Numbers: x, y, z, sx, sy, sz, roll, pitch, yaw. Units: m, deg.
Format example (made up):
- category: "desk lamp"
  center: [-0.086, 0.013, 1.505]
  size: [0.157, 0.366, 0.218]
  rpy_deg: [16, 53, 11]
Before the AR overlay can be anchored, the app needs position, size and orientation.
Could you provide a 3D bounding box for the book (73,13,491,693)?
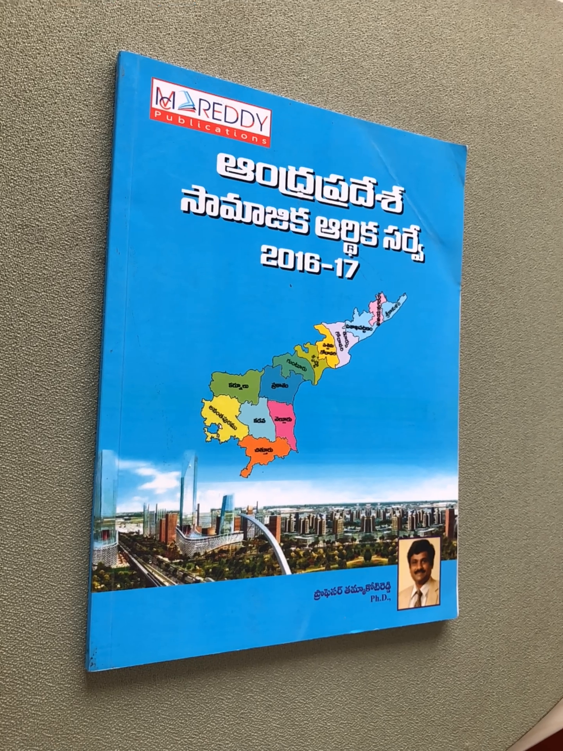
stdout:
- category: "book"
  center: [0.013, -0.006, 0.270]
  size: [0.180, 0.020, 0.240]
  rpy_deg: [4, 86, -27]
